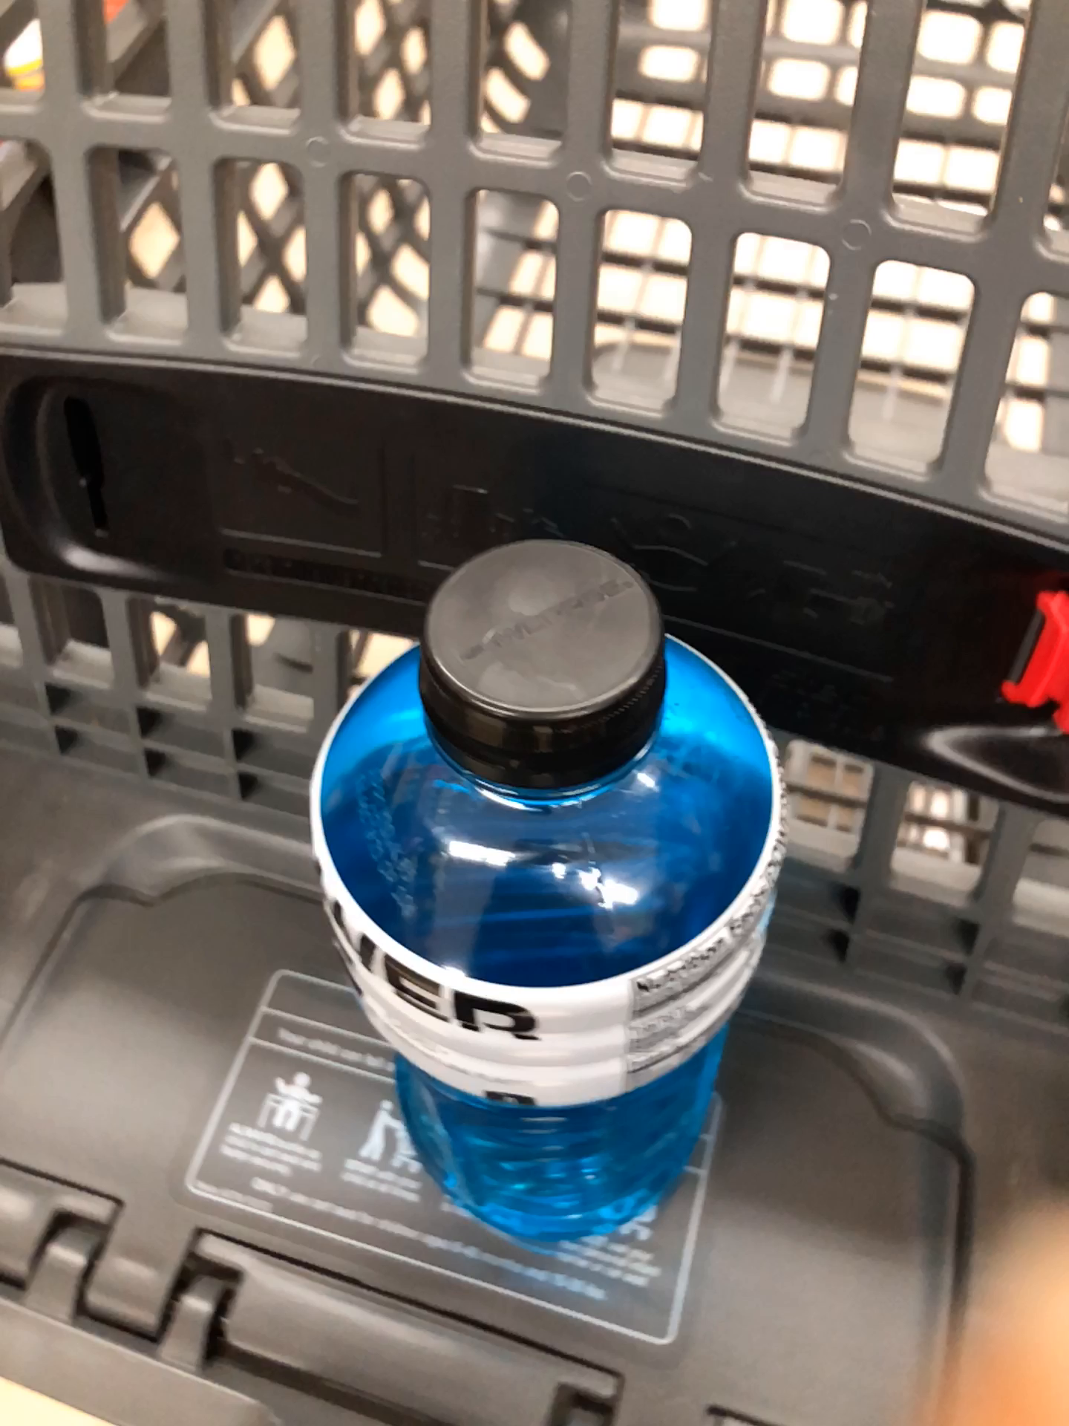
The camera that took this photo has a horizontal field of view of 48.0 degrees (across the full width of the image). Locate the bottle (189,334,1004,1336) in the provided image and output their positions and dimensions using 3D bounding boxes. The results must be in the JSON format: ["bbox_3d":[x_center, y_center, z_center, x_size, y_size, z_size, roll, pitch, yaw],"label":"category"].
[{"bbox_3d":[0.005,0.047,0.277,0.100,0.220,0.100,-1,50,1],"label":"bottle"}]
